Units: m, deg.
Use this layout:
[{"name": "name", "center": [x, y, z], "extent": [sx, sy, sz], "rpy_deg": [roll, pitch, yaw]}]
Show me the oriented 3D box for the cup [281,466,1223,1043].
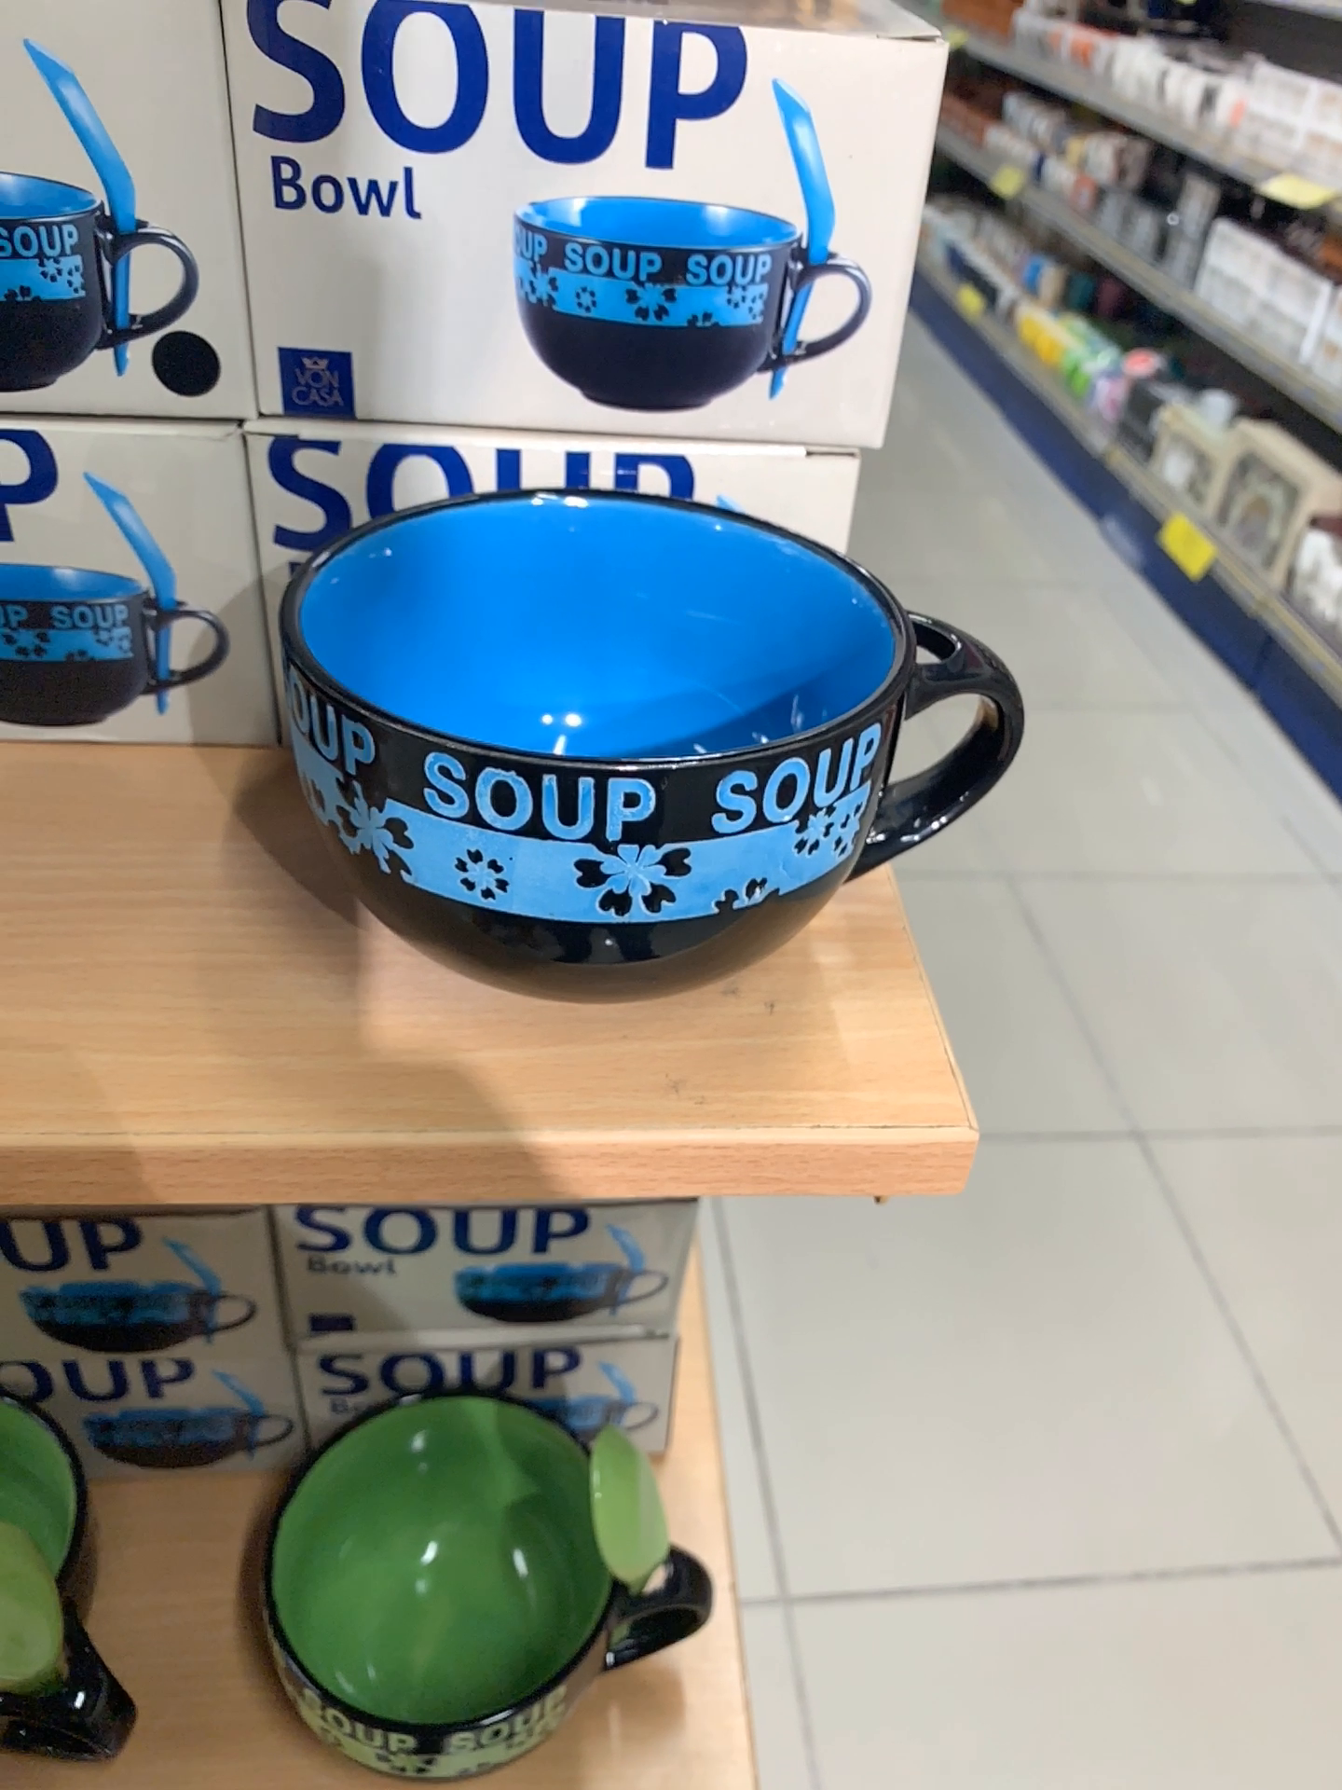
[{"name": "cup", "center": [0.005, -0.033, 0.270], "extent": [0.150, 0.060, 0.100], "rpy_deg": [-3, 37, -15]}]
